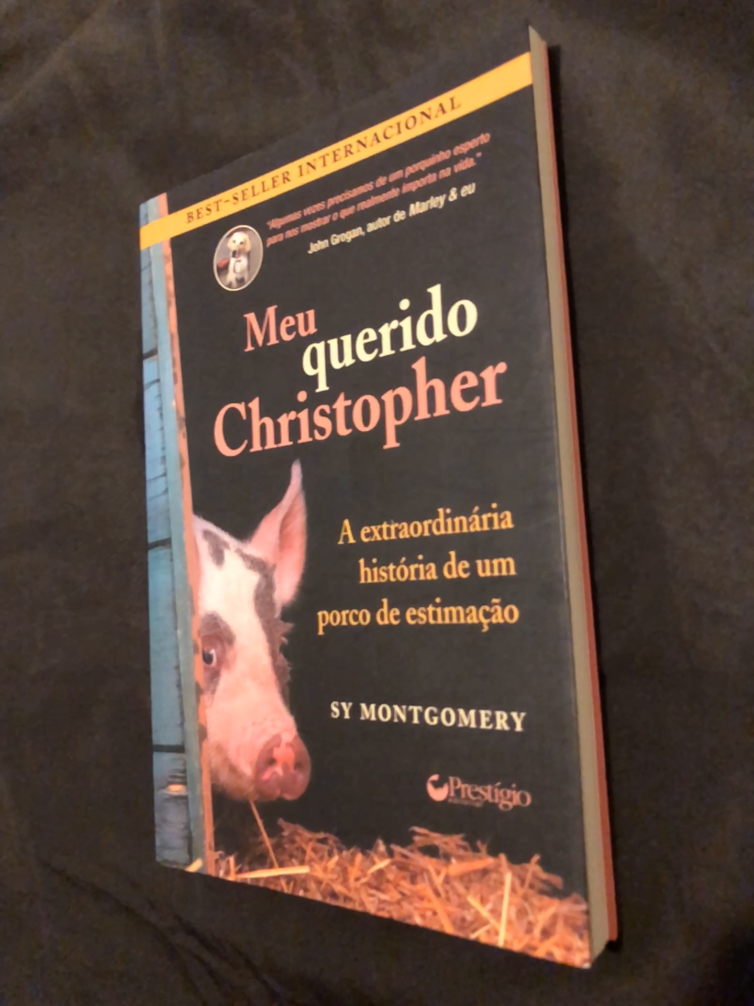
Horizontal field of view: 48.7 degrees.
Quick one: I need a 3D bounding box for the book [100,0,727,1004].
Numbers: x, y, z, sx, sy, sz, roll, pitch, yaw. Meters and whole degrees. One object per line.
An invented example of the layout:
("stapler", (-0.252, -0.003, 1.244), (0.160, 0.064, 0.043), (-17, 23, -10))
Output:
("book", (-0.008, 0.002, 0.233), (0.171, 0.020, 0.220), (-9, 83, 33))
